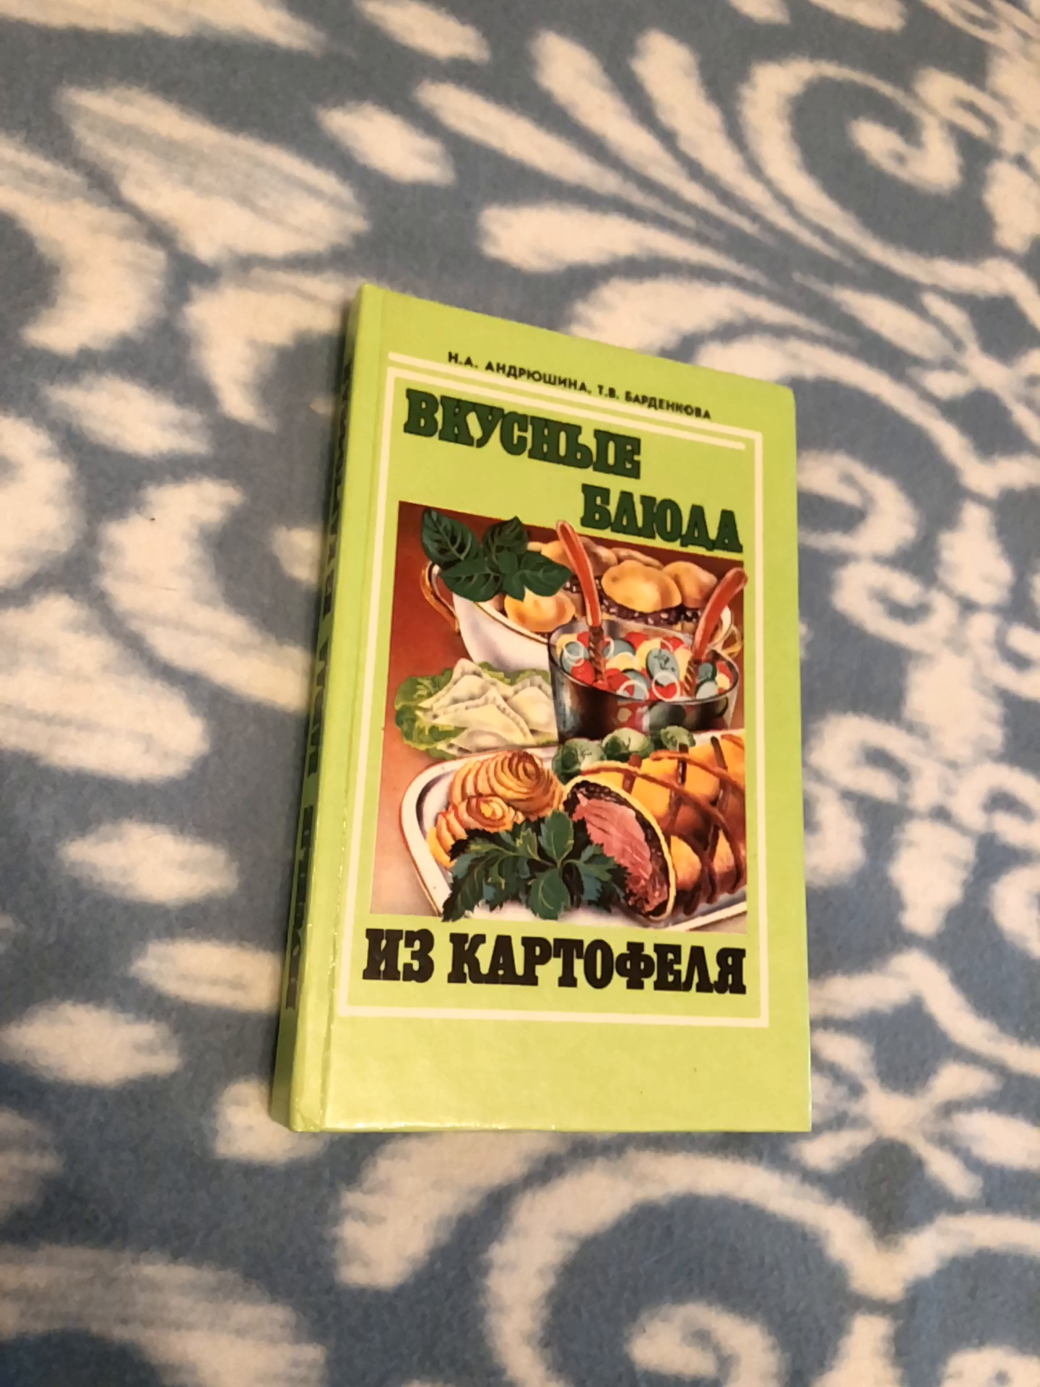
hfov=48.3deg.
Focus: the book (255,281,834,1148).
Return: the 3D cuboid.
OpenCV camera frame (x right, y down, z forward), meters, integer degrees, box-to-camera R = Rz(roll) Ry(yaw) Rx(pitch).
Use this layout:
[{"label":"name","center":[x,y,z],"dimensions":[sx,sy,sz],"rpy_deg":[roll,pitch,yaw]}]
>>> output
[{"label":"book","center":[0.013,0.007,0.295],"dimensions":[0.136,0.025,0.201],"rpy_deg":[7,75,-19]}]
